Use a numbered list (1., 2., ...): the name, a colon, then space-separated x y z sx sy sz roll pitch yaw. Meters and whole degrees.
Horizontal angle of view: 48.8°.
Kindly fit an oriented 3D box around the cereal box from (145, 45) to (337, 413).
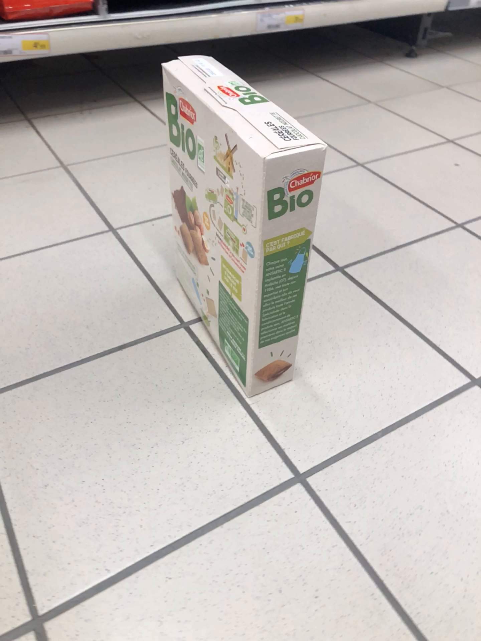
1. cereal box: -0.016 -0.081 0.465 0.060 0.239 0.211 -15 44 -19
